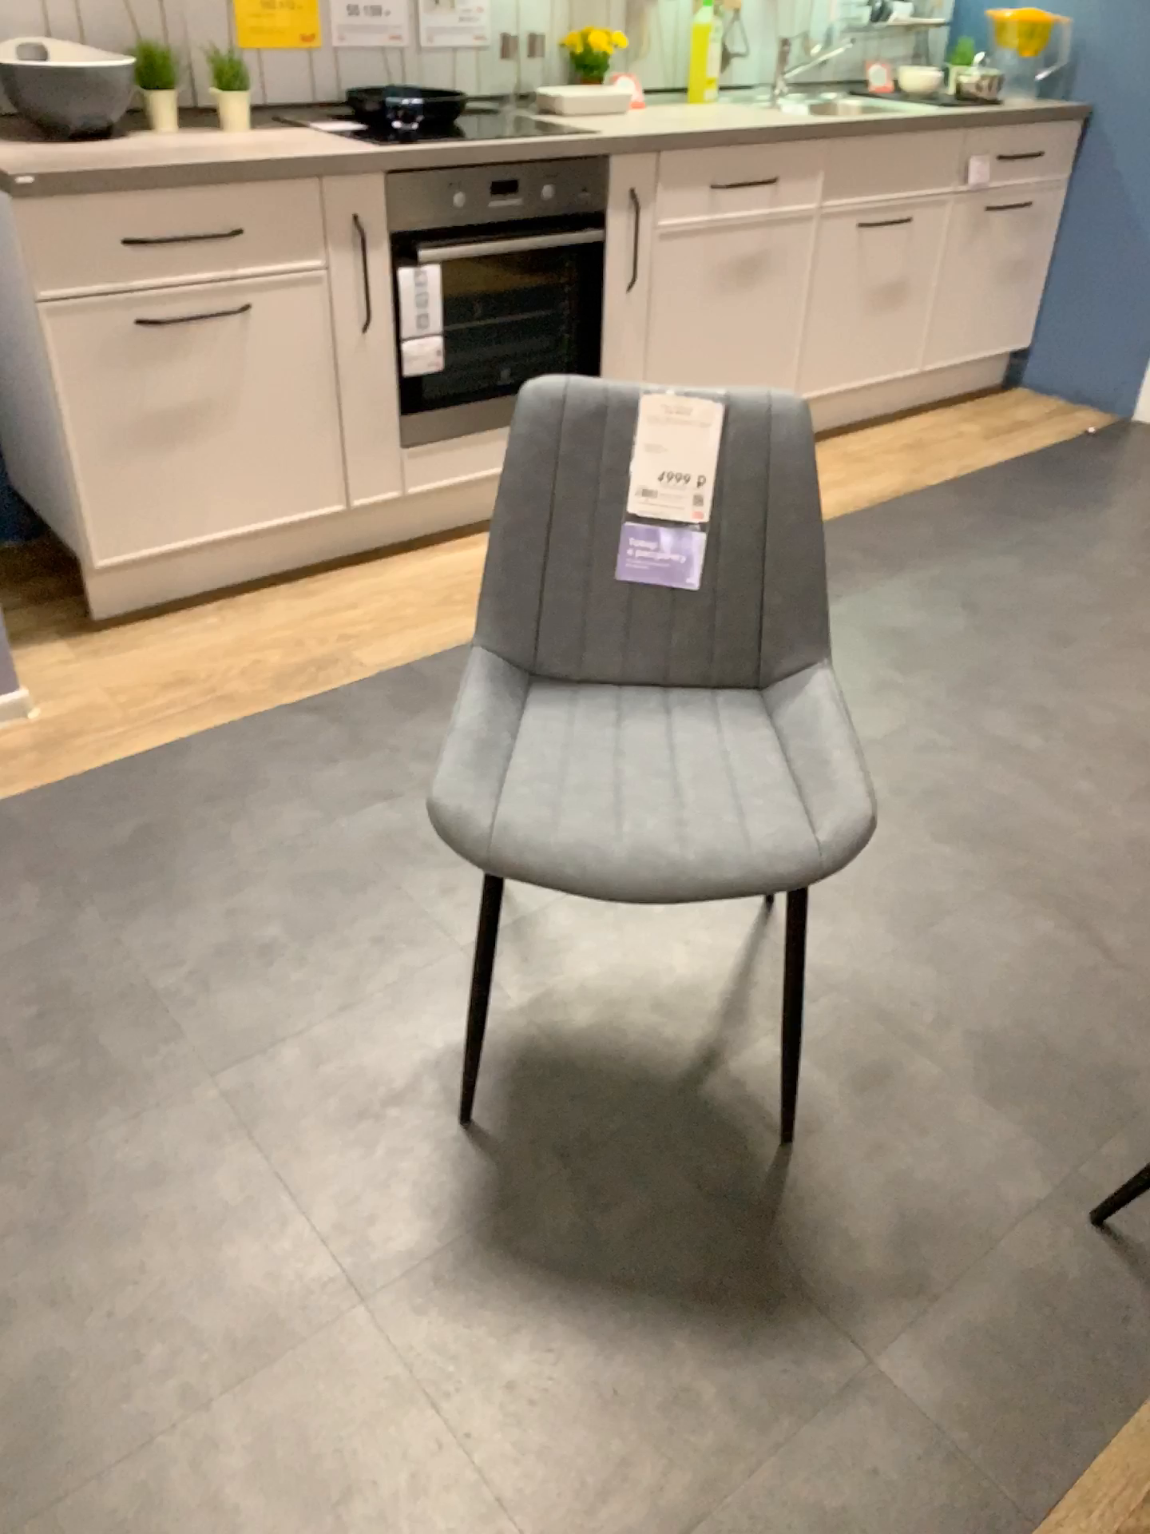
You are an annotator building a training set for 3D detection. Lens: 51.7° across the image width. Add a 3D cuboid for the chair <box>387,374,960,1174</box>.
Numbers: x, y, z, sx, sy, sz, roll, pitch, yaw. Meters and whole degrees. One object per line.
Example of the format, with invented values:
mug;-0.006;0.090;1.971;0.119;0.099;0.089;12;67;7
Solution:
chair;0.094;0.003;1.559;0.522;0.833;0.592;3;34;2
